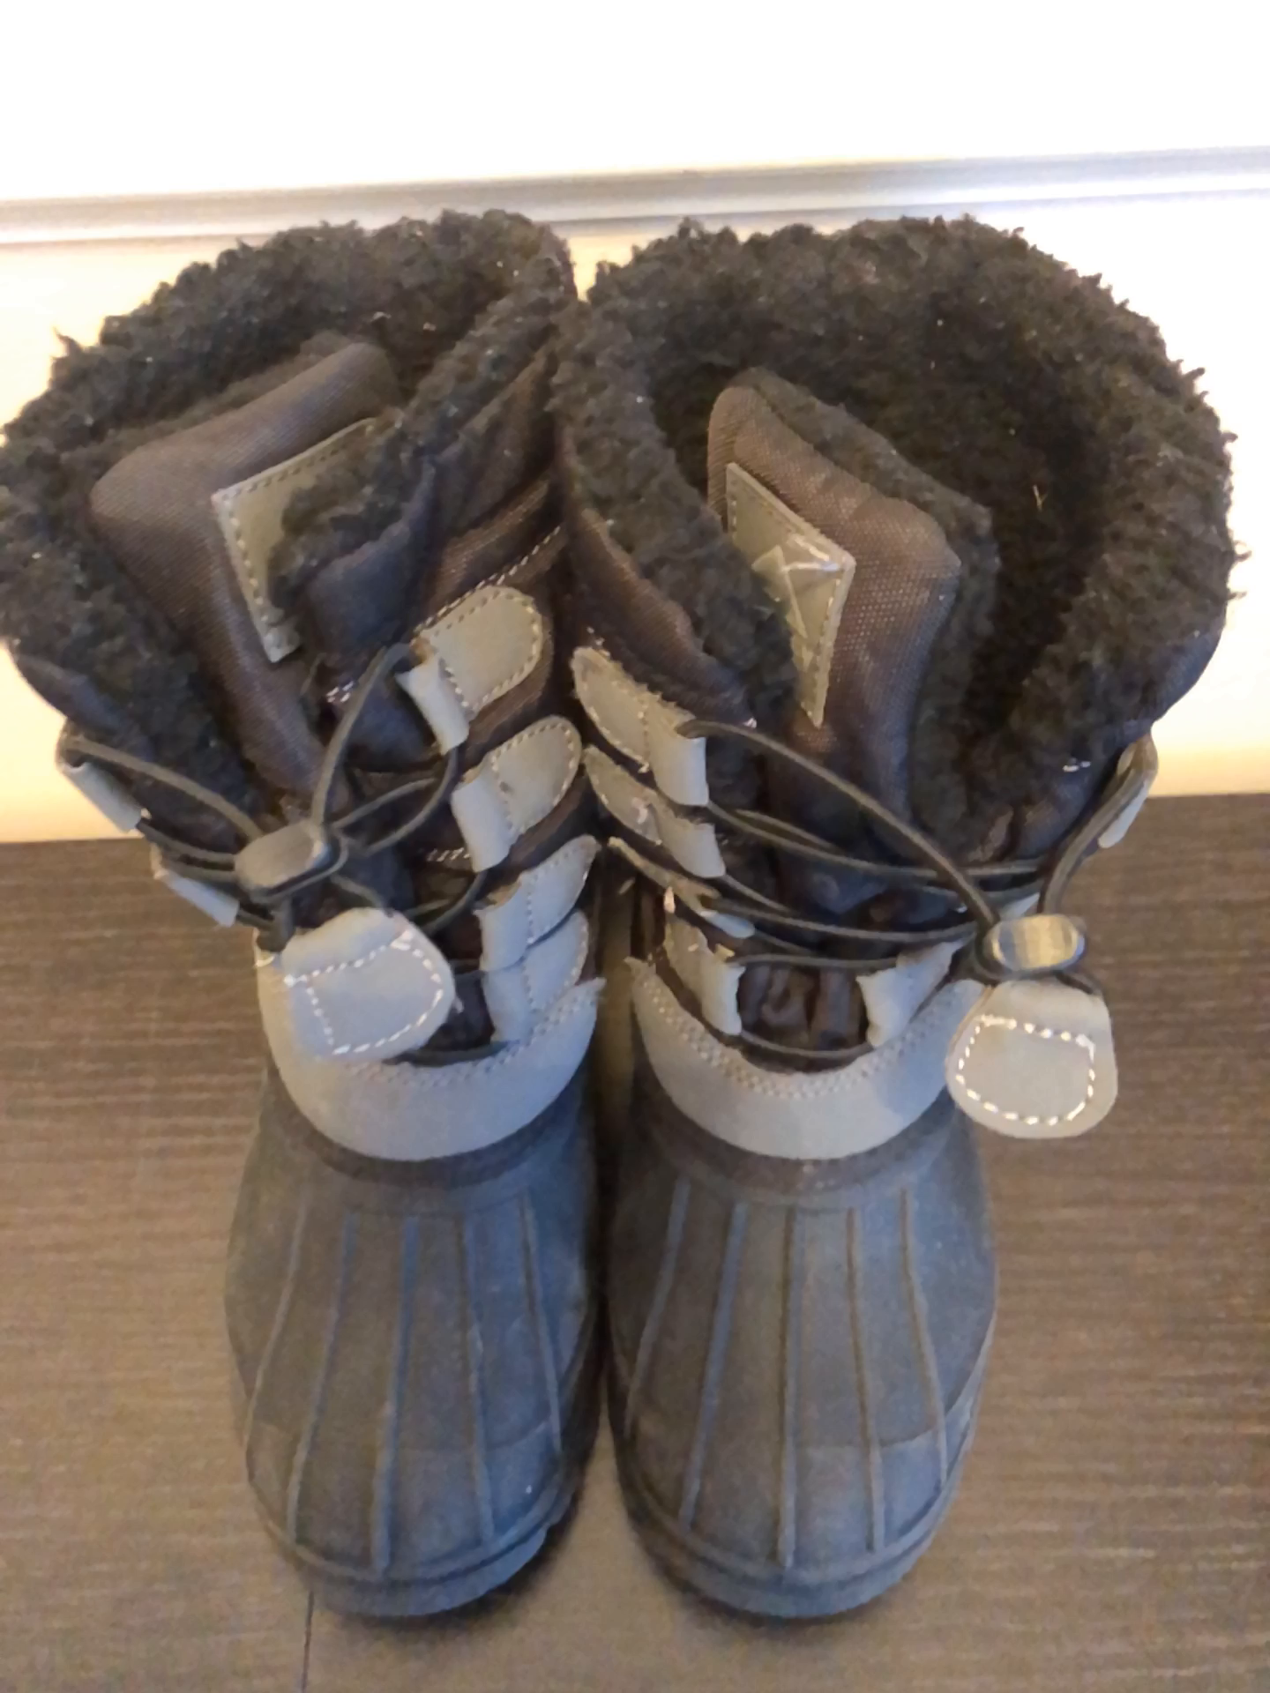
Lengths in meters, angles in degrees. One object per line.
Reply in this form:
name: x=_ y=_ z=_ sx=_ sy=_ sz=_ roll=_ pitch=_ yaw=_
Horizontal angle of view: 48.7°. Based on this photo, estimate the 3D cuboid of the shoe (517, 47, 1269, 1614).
shoe: x=0.043 y=0.010 z=0.271 sx=0.100 sy=0.209 sz=0.221 roll=0 pitch=55 yaw=1

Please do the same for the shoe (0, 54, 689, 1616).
shoe: x=-0.042 y=0.011 z=0.271 sx=0.100 sy=0.209 sz=0.221 roll=0 pitch=55 yaw=1
